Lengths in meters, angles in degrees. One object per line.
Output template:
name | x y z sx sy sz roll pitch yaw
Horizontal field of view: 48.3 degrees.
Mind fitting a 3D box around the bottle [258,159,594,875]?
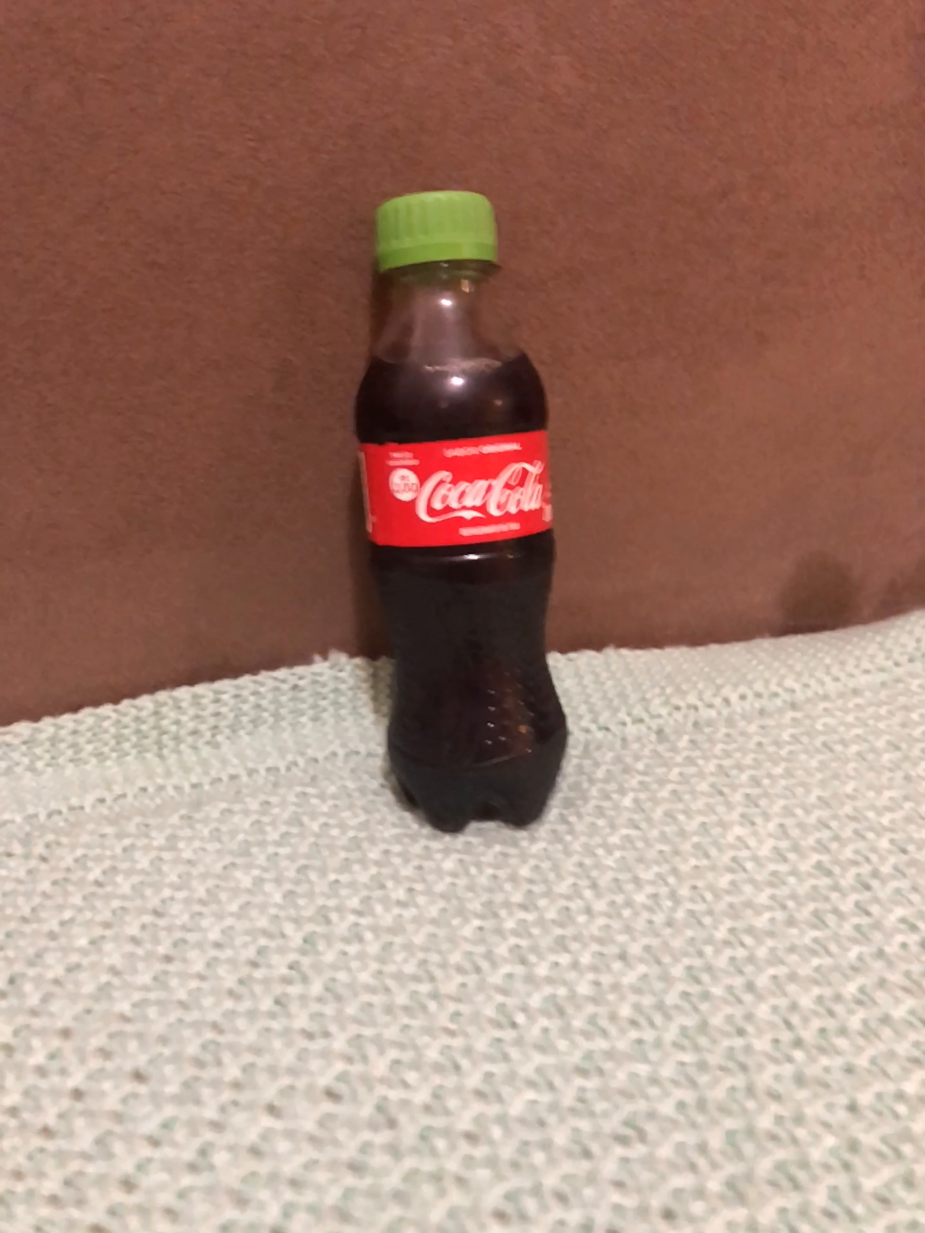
bottle | -0.009 -0.027 0.281 0.060 0.169 0.060 -4 14 1
